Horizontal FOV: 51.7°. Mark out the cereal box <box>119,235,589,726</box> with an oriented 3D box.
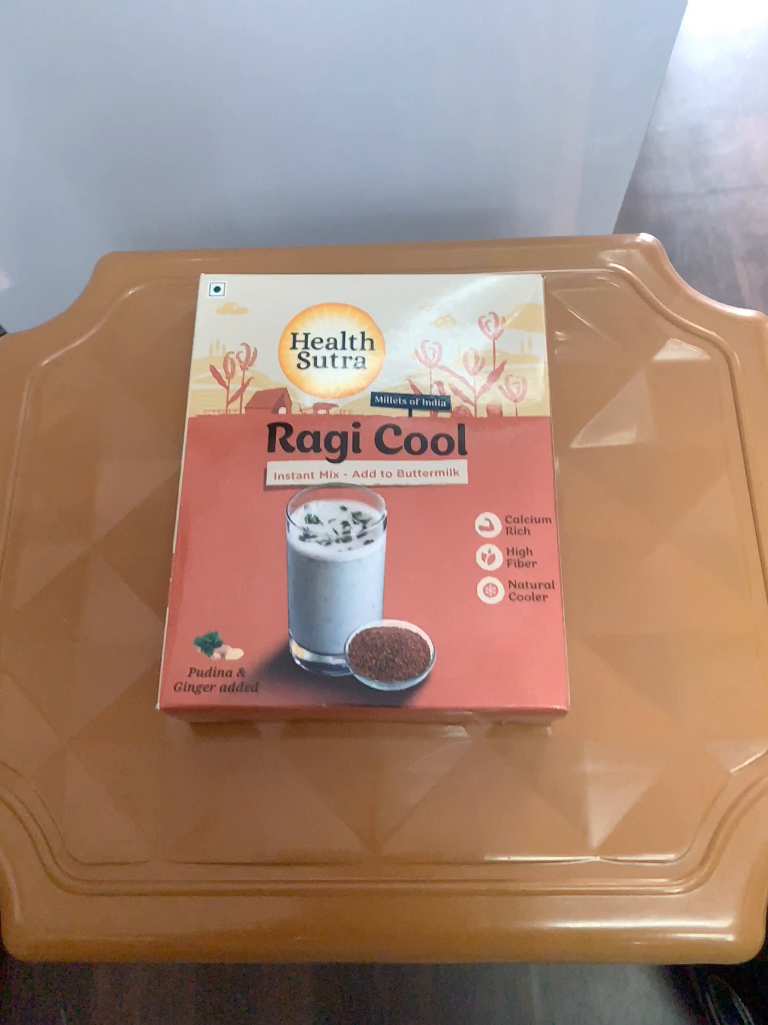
[{"bbox_3d":[-0.008,-0.013,0.282,0.140,0.040,0.170,-1,70,2],"label":"cereal box"}]
